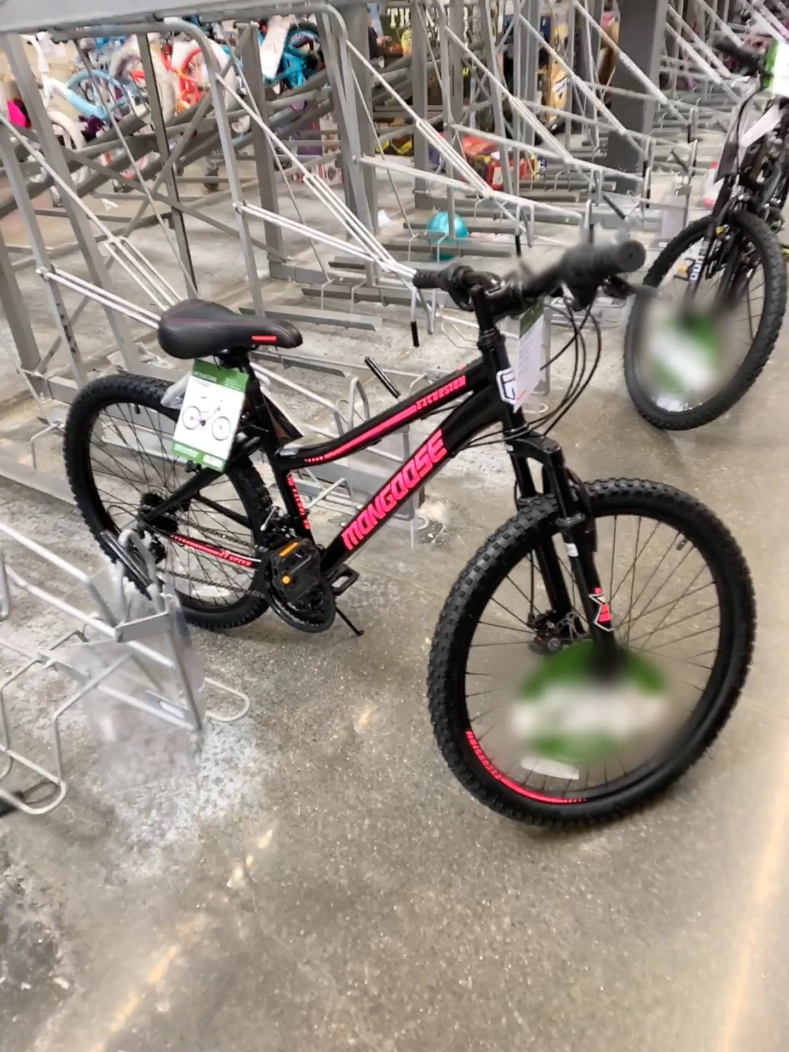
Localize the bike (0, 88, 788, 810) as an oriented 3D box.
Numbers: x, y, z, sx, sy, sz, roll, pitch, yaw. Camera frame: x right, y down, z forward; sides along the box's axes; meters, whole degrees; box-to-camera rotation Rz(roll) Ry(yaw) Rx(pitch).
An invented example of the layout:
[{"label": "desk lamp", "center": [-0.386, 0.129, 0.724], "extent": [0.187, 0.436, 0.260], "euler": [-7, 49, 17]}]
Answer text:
[{"label": "bike", "center": [-0.084, -0.184, 1.491], "extent": [1.401, 0.963, 0.642], "euler": [9, 36, 20]}]
